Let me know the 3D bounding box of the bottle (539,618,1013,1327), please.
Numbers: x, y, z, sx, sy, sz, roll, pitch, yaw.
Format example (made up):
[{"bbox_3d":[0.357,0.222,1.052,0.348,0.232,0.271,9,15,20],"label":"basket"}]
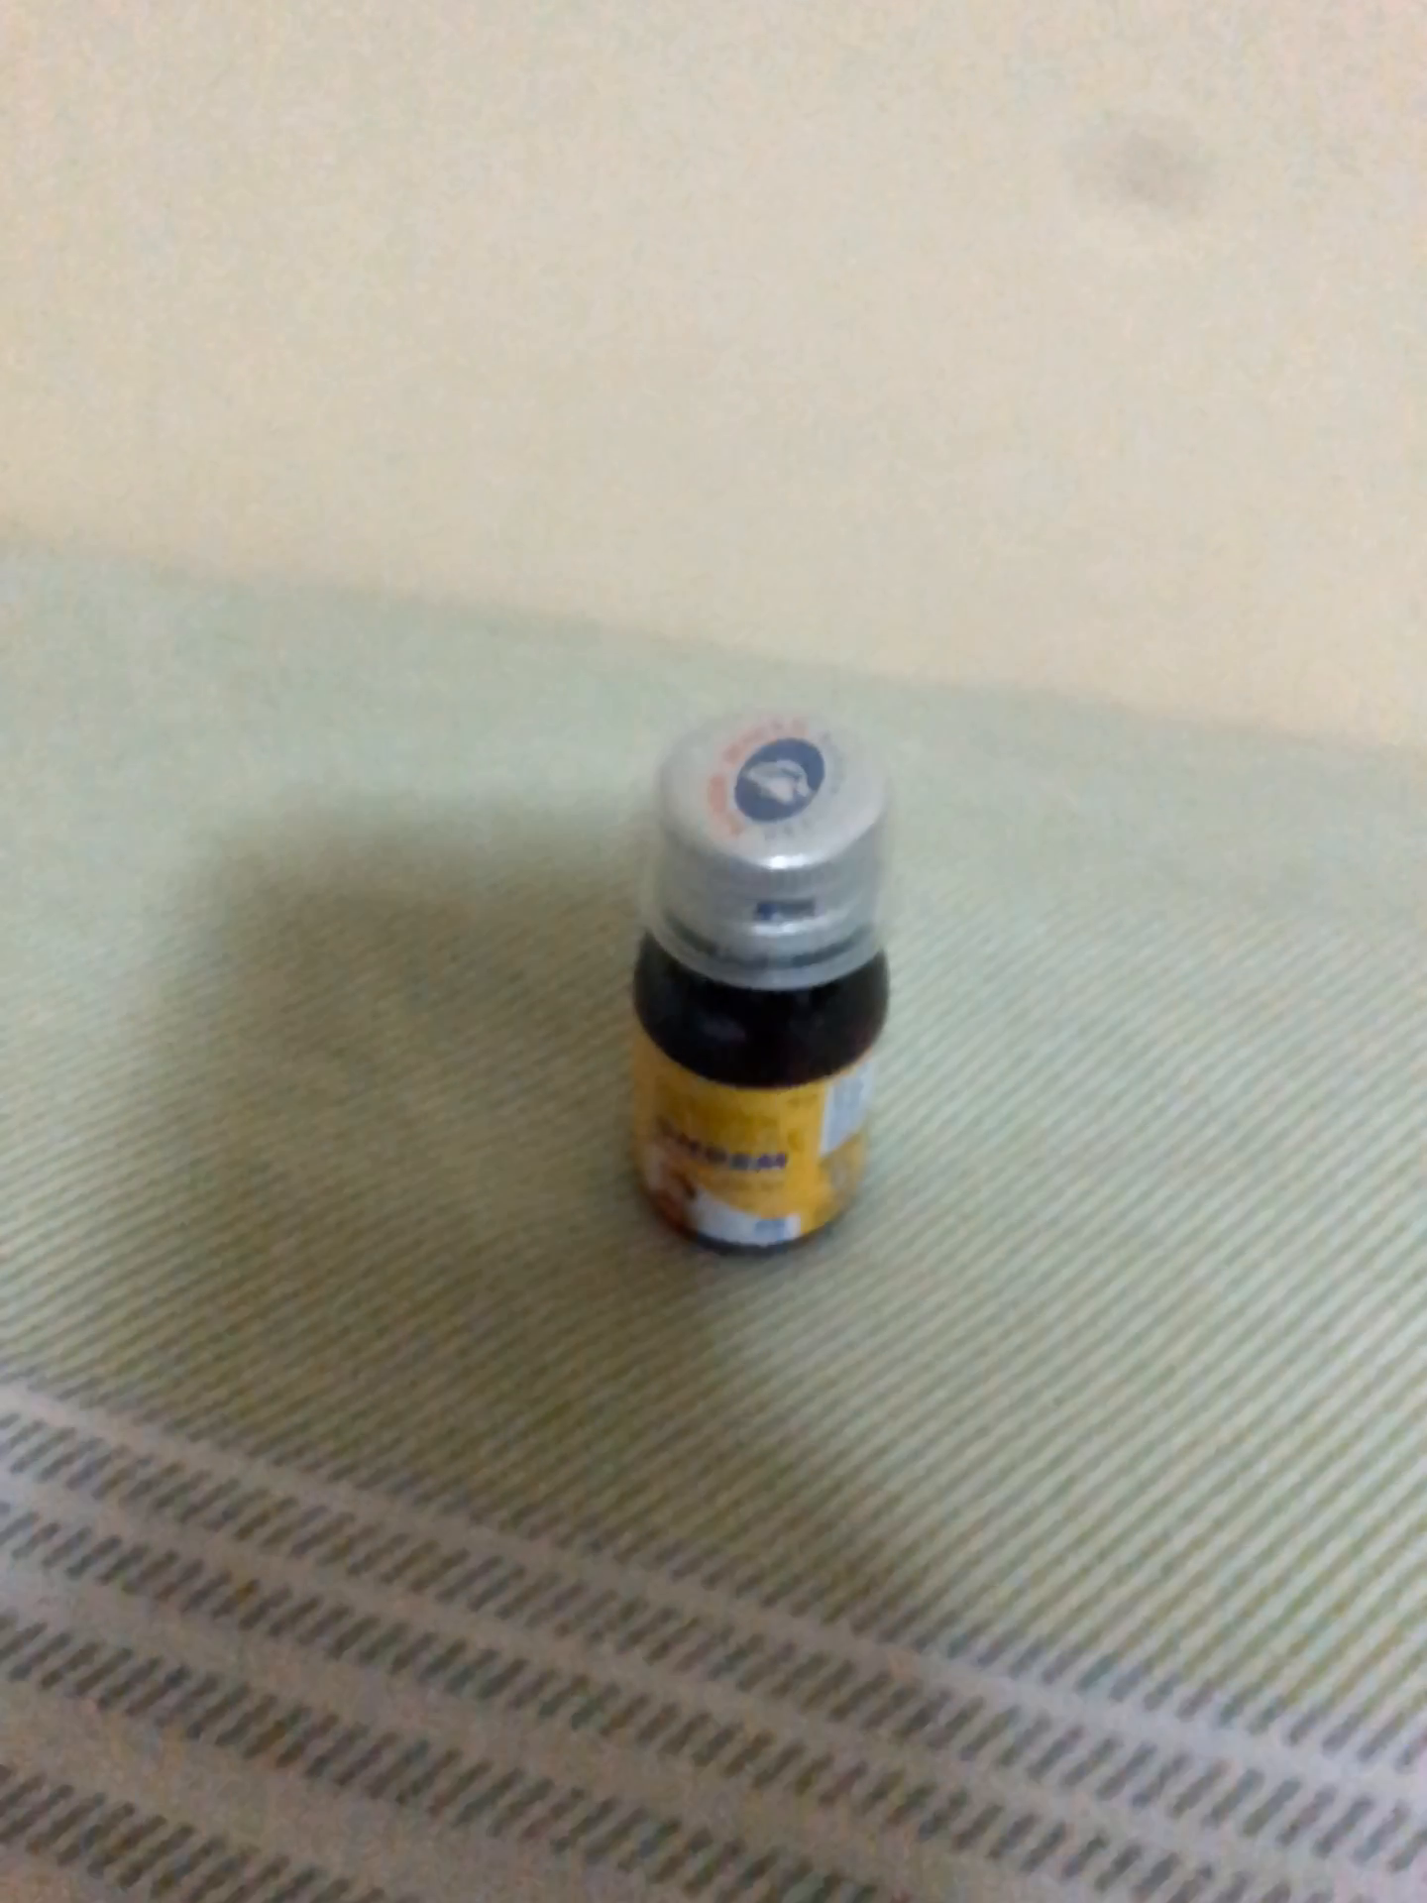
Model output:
[{"bbox_3d":[0.007,0.005,0.214,0.040,0.080,0.040,1,48,-1],"label":"bottle"}]
